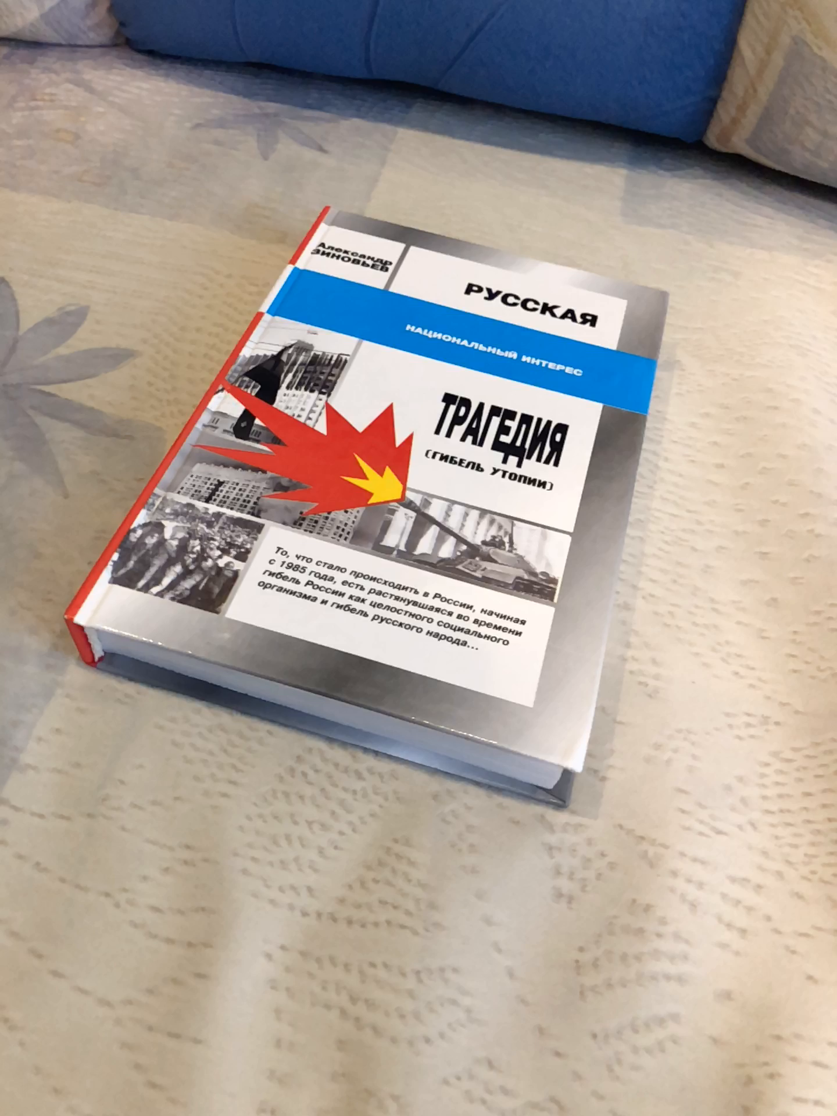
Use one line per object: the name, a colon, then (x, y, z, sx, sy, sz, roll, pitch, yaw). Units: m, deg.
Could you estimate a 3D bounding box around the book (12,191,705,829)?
book: (-0.001, -0.035, 0.305, 0.160, 0.040, 0.201, 15, 53, 8)
